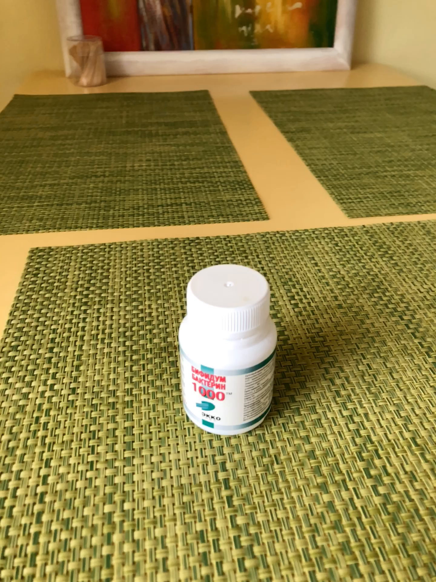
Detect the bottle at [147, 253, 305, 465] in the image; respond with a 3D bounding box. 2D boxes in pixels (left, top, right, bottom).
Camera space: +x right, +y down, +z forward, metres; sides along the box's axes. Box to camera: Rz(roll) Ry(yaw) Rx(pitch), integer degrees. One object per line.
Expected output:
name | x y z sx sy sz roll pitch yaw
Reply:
bottle | 0.004 0.030 0.224 0.050 0.069 0.050 1 35 0
